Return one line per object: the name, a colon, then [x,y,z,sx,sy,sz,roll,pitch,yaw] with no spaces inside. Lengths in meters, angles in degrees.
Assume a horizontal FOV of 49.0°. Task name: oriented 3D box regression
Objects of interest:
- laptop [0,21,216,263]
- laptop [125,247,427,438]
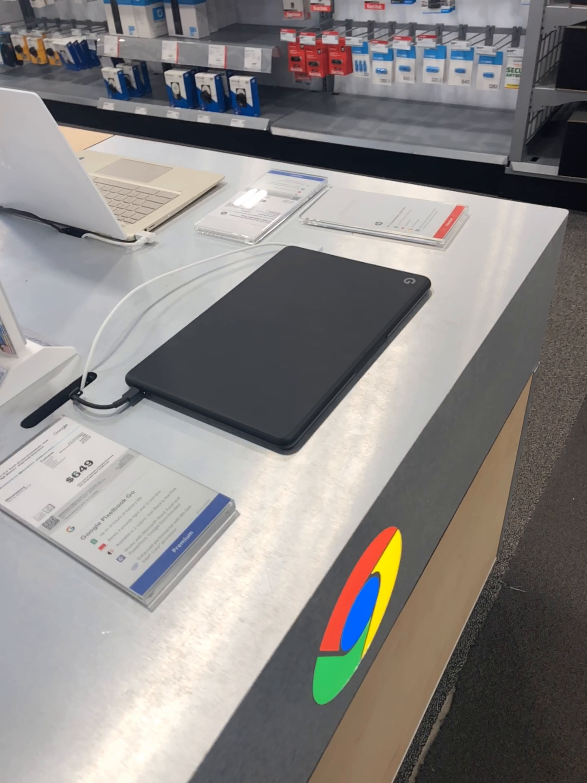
laptop: [-0.326,-0.373,0.922,0.303,0.206,0.275,19,46,26]
laptop: [-0.007,-0.073,0.684,0.194,0.001,0.297,19,45,27]
